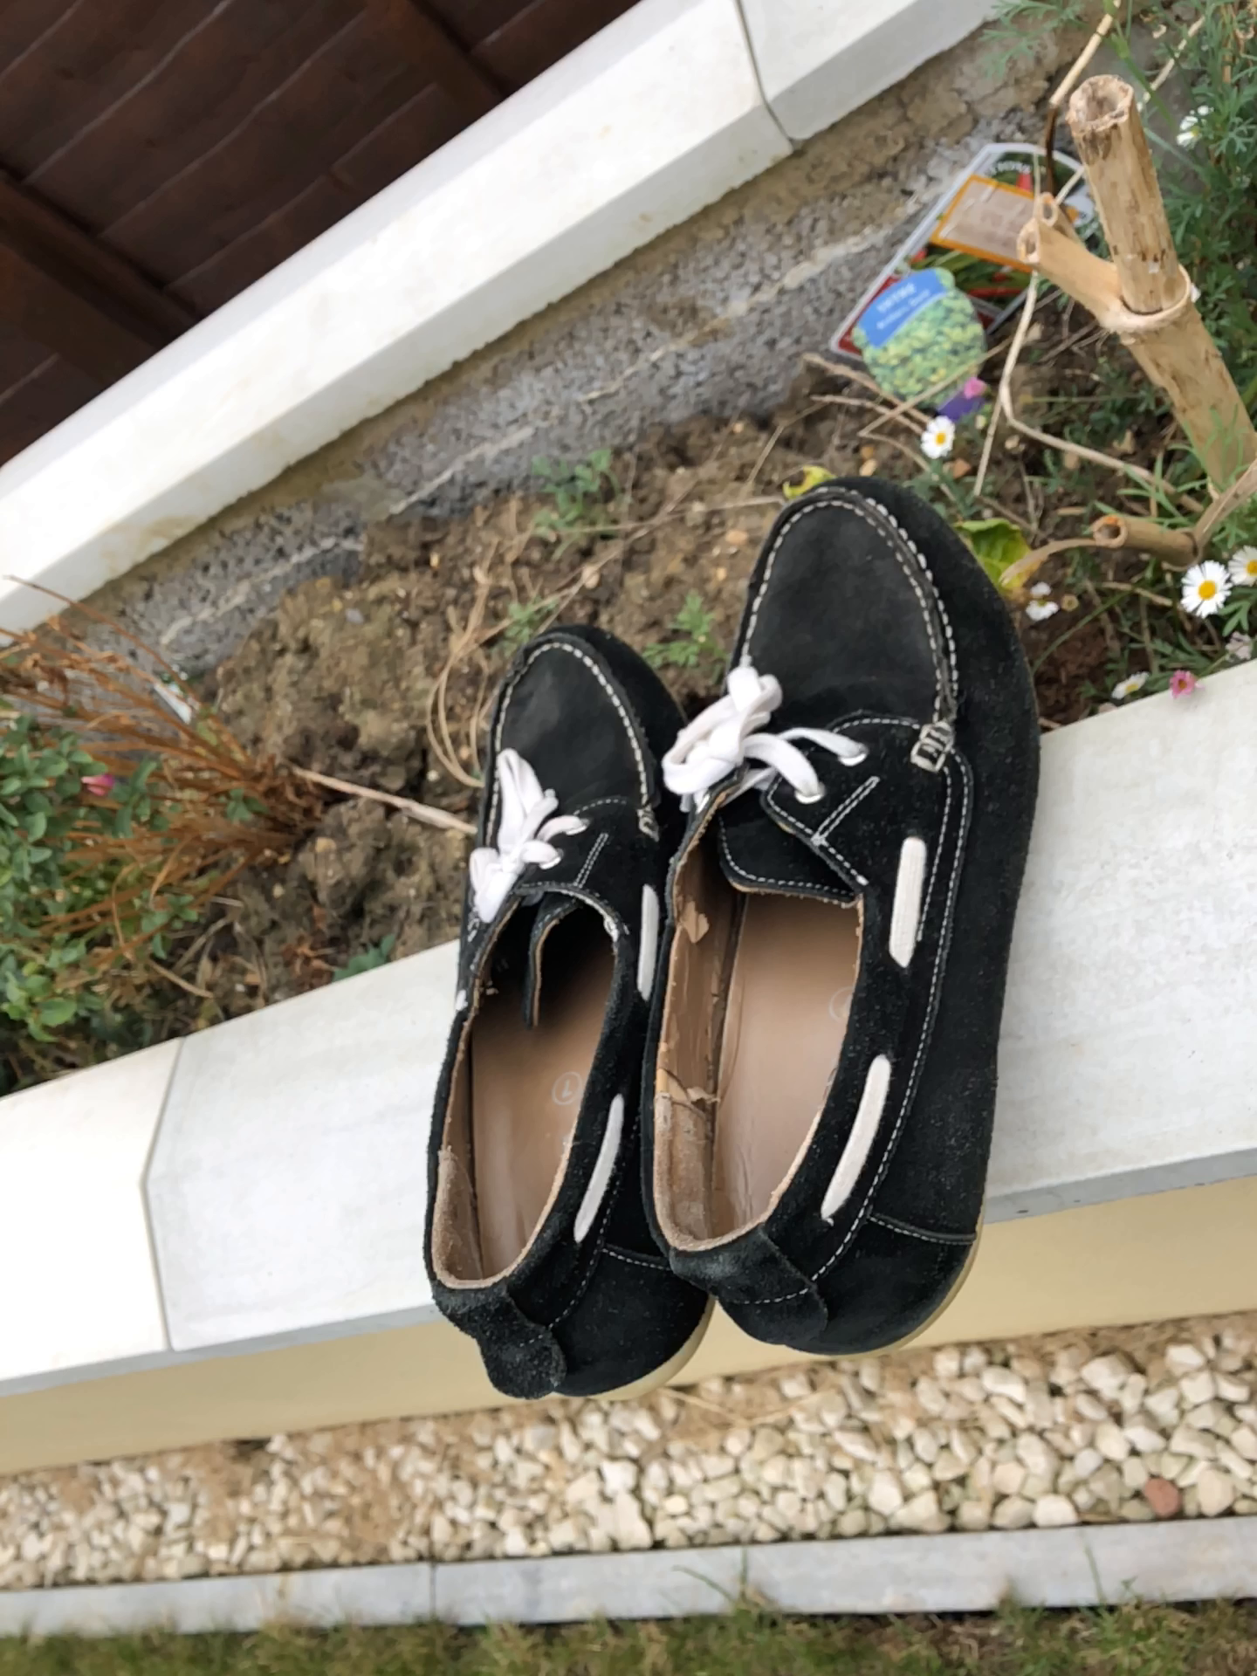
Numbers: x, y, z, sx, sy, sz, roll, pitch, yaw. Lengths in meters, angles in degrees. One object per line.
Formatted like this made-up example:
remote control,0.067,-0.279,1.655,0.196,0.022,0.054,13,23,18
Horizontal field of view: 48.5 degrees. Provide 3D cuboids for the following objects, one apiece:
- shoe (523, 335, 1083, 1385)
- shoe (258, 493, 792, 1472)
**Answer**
shoe,0.060,-0.001,0.429,0.110,0.090,0.301,-15,52,32
shoe,-0.036,0.037,0.488,0.120,0.090,0.311,-26,47,26
